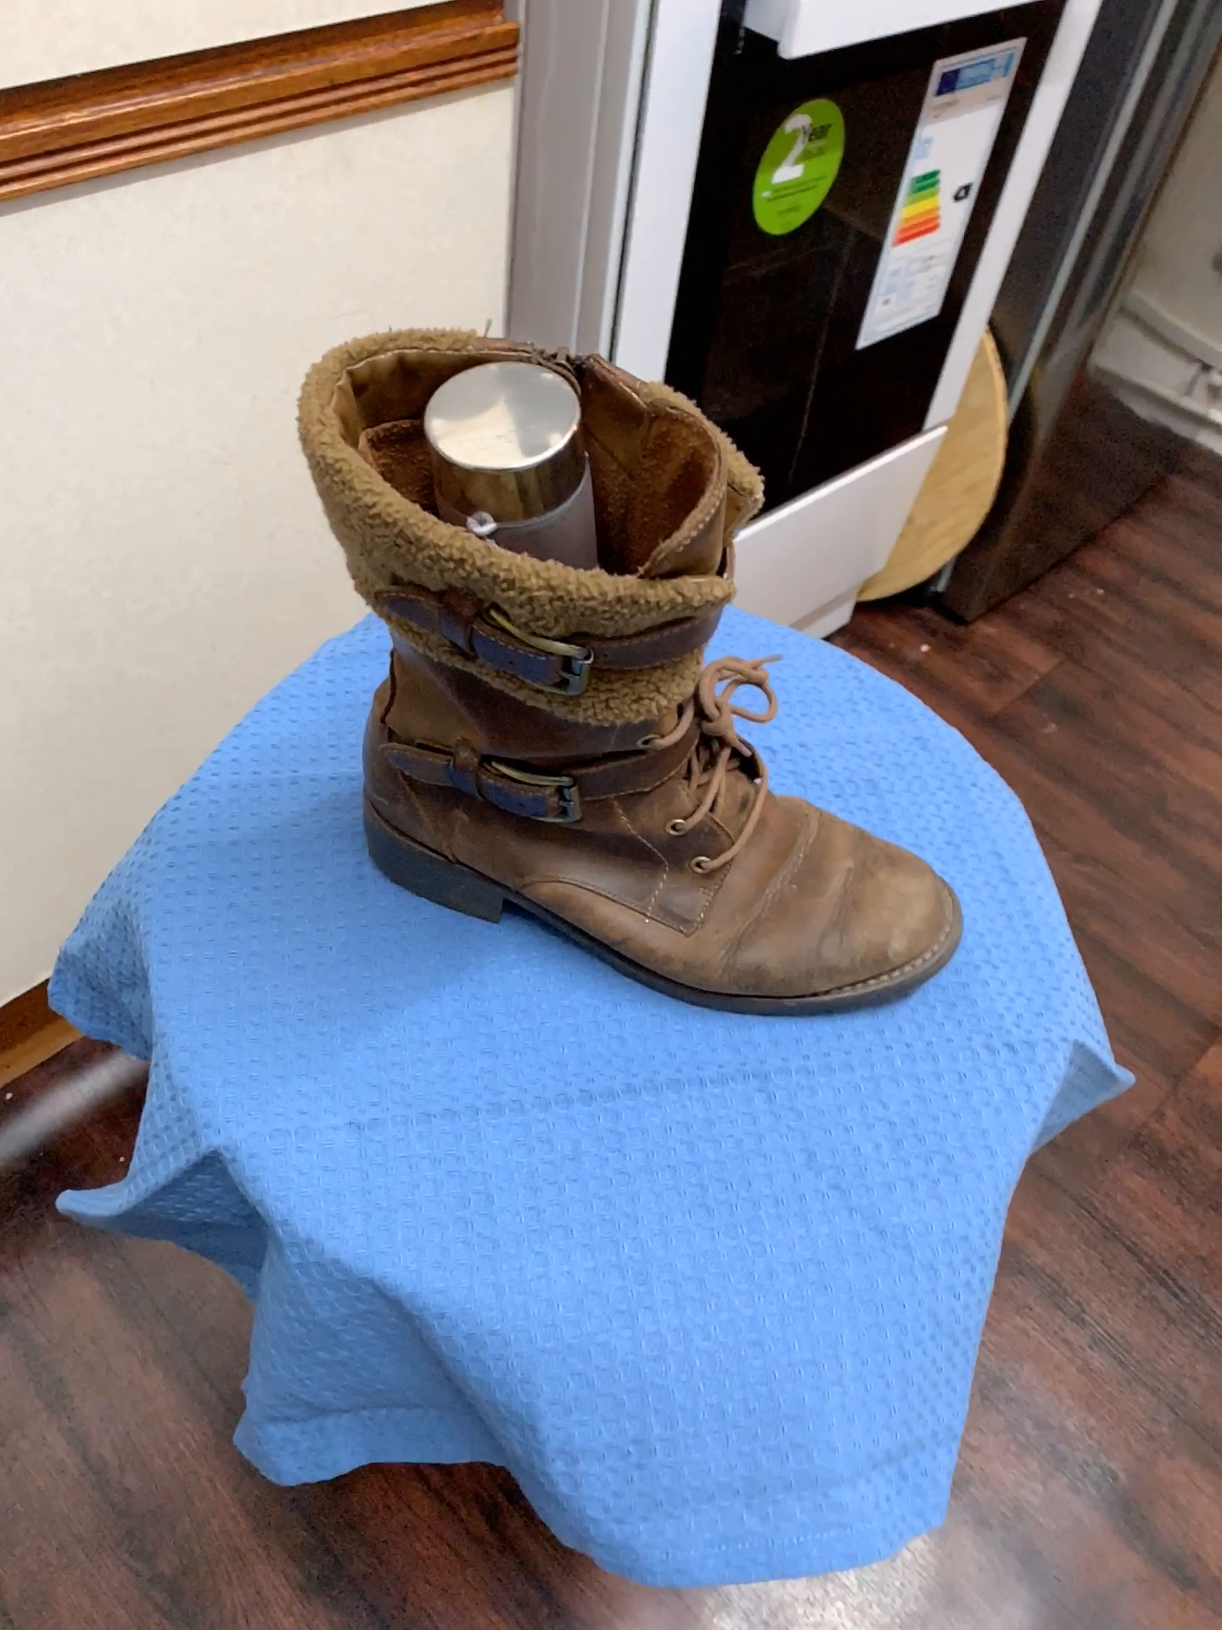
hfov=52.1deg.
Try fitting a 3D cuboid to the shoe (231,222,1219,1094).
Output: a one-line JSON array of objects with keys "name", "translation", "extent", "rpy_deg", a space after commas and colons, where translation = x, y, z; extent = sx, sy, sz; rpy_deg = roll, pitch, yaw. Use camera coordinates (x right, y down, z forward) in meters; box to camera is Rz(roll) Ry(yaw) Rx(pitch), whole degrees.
[{"name": "shoe", "translation": [0.031, -0.039, 0.440], "extent": [0.250, 0.228, 0.121], "rpy_deg": [18, 57, 8]}]
